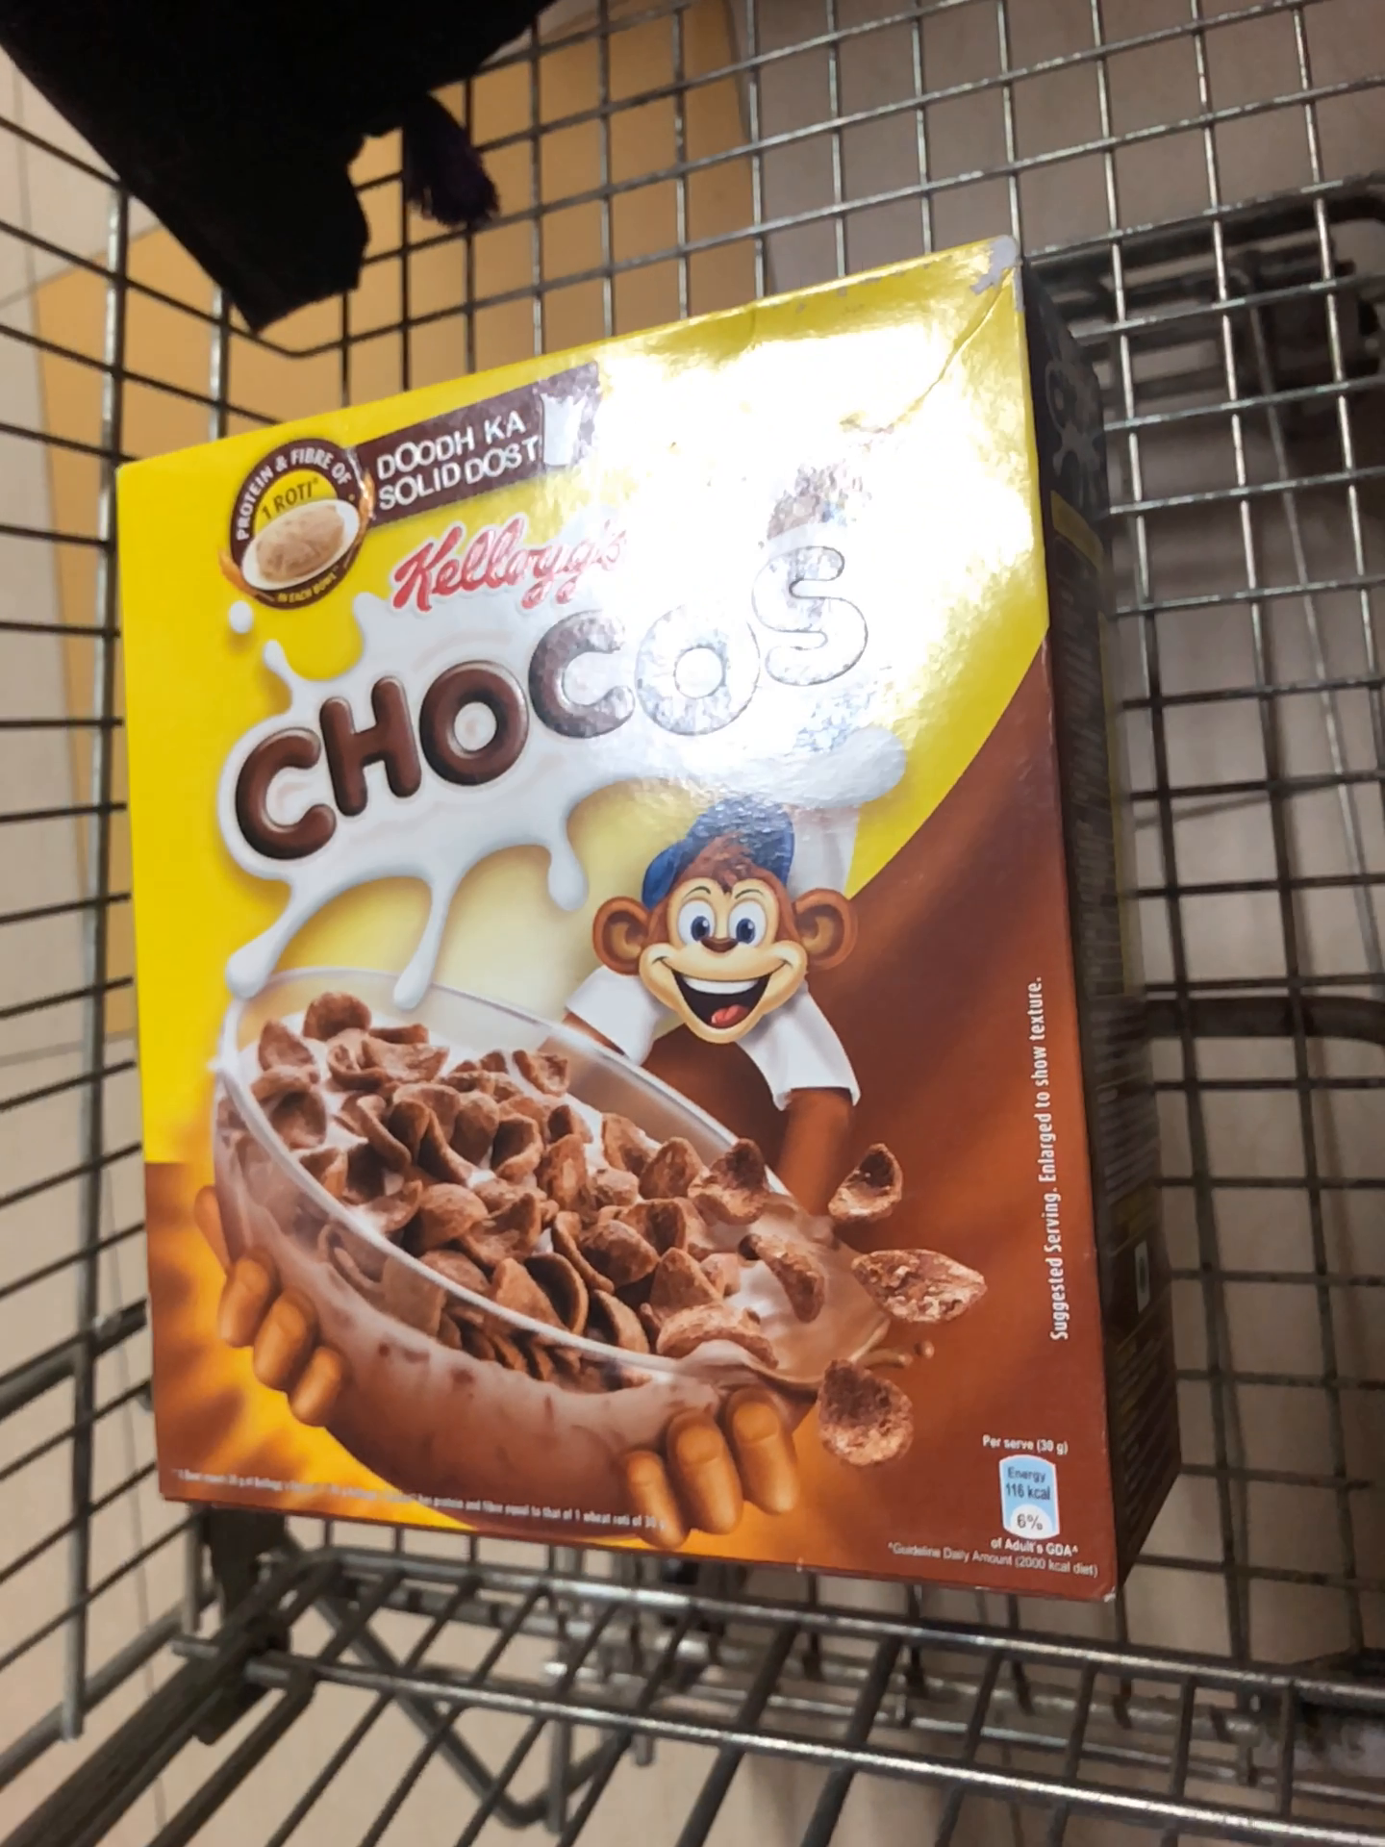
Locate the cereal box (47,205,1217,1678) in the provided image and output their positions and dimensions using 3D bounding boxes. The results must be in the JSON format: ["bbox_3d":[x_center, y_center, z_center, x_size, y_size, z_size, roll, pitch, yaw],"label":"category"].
[{"bbox_3d":[-0.014,0.007,0.270,0.180,0.070,0.190,-5,88,25],"label":"cereal box"}]
